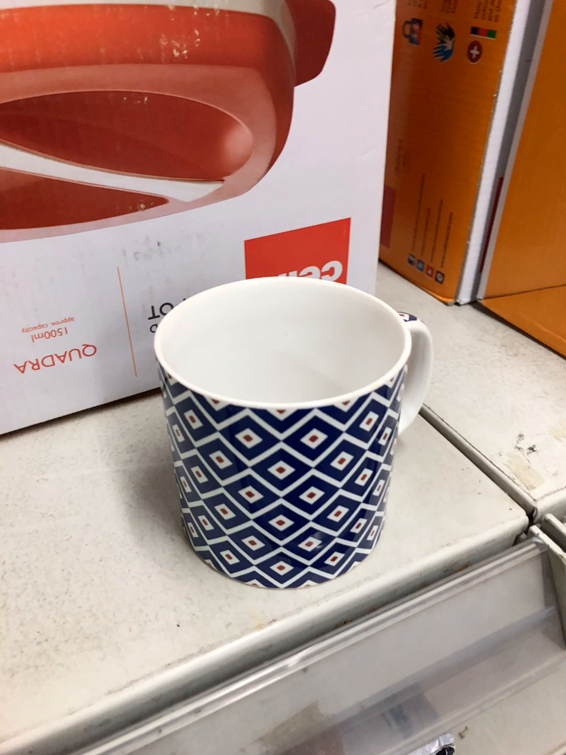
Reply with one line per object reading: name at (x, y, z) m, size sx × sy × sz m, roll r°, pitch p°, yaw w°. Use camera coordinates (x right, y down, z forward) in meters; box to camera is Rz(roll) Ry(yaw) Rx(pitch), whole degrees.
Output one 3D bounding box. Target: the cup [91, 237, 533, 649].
cup at (0.006, 0.013, 0.216) m, size 0.110 × 0.079 × 0.080 m, roll -16°, pitch 38°, yaw -22°
